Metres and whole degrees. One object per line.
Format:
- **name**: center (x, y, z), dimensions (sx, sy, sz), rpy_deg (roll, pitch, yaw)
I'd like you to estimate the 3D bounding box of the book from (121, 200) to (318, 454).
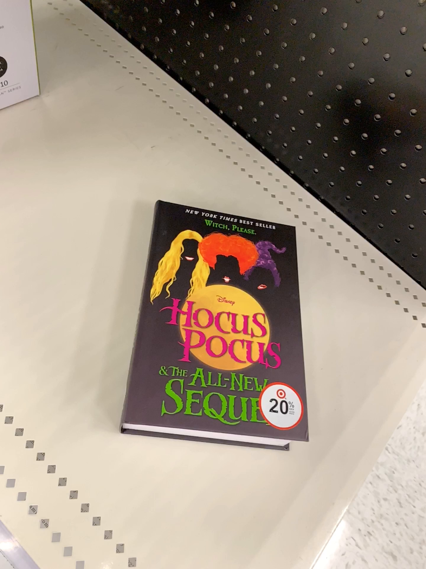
- **book**: center (0.008, 0.033, 0.401), dimensions (0.148, 0.050, 0.210), rpy_deg (9, 58, -11)
